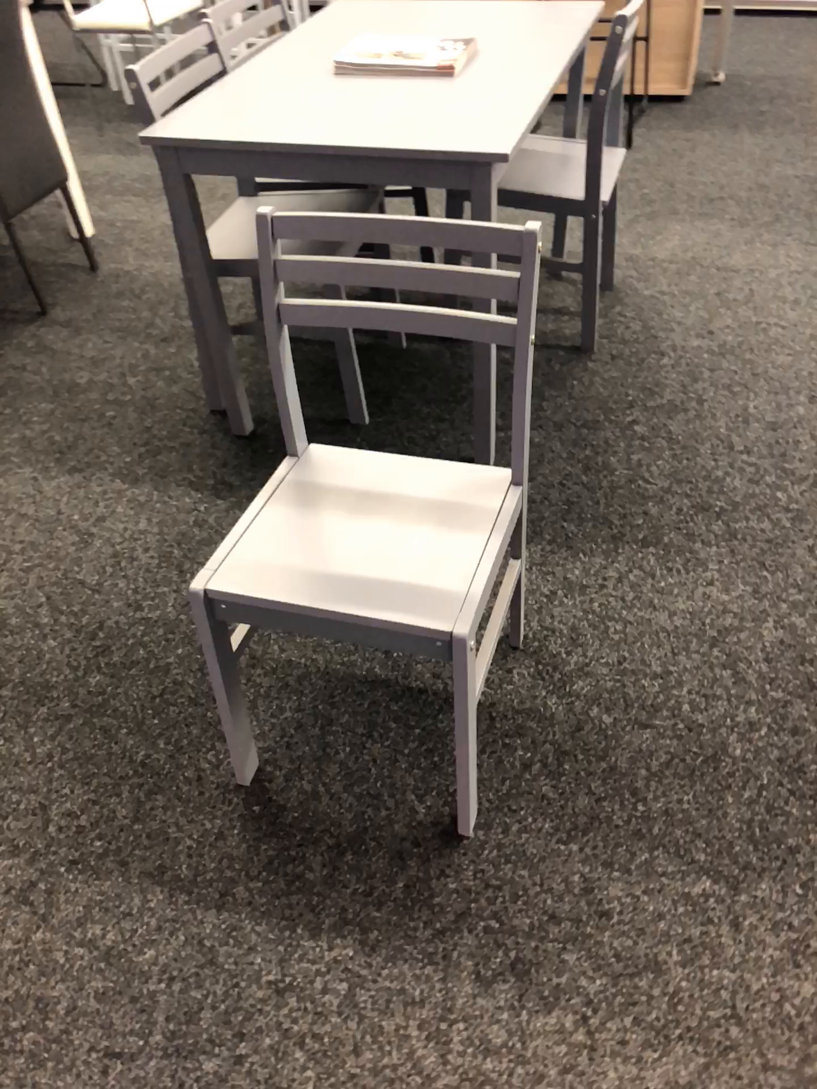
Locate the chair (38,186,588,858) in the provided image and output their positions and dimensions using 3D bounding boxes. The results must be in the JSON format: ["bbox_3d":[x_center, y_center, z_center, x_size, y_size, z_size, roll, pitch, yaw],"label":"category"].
[{"bbox_3d":[-0.049,-0.023,1.274,0.490,0.766,0.493,8,44,14],"label":"chair"}]
